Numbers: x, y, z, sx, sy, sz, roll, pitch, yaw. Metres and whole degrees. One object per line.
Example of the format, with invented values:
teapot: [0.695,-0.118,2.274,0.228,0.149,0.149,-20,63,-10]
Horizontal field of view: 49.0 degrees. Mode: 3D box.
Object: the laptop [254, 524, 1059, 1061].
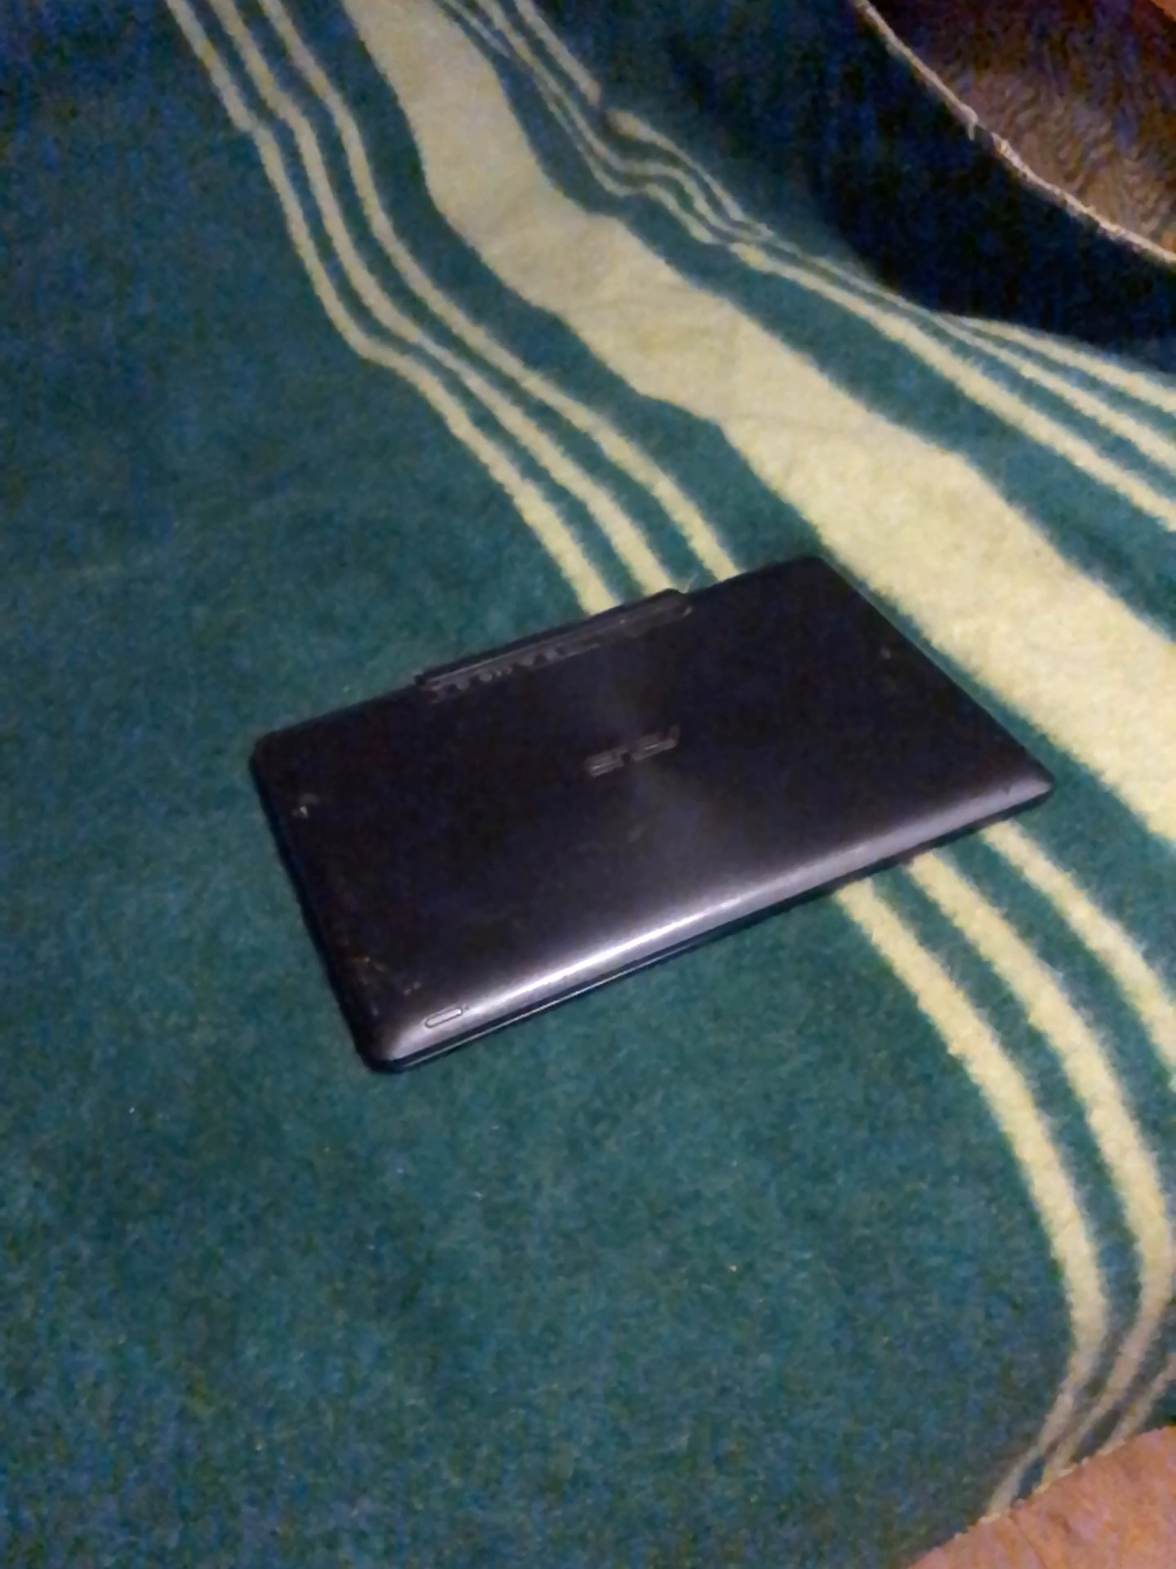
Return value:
laptop: [0.019,-0.014,0.496,0.262,0.017,0.167,-21,46,-15]
